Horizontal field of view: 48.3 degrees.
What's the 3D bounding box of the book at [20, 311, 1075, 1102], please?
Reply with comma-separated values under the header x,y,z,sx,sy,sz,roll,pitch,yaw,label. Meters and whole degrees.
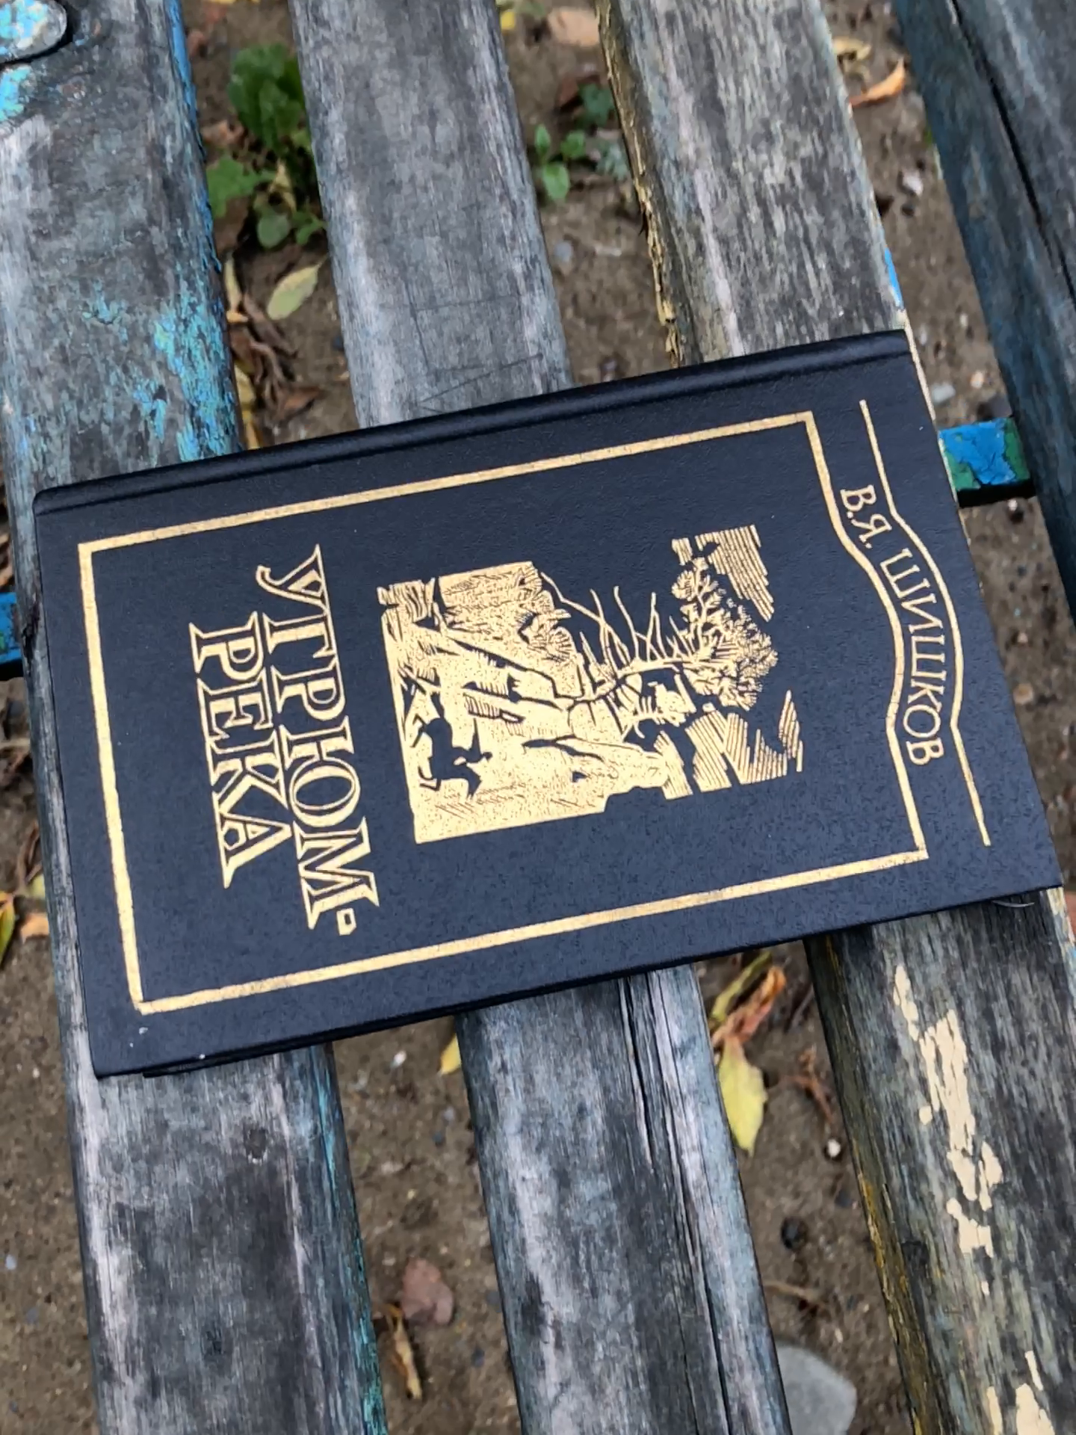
x,y,z,sx,sy,sz,roll,pitch,yaw,label
0.000,-0.005,0.274,0.210,0.030,0.137,-11,79,-2,book
